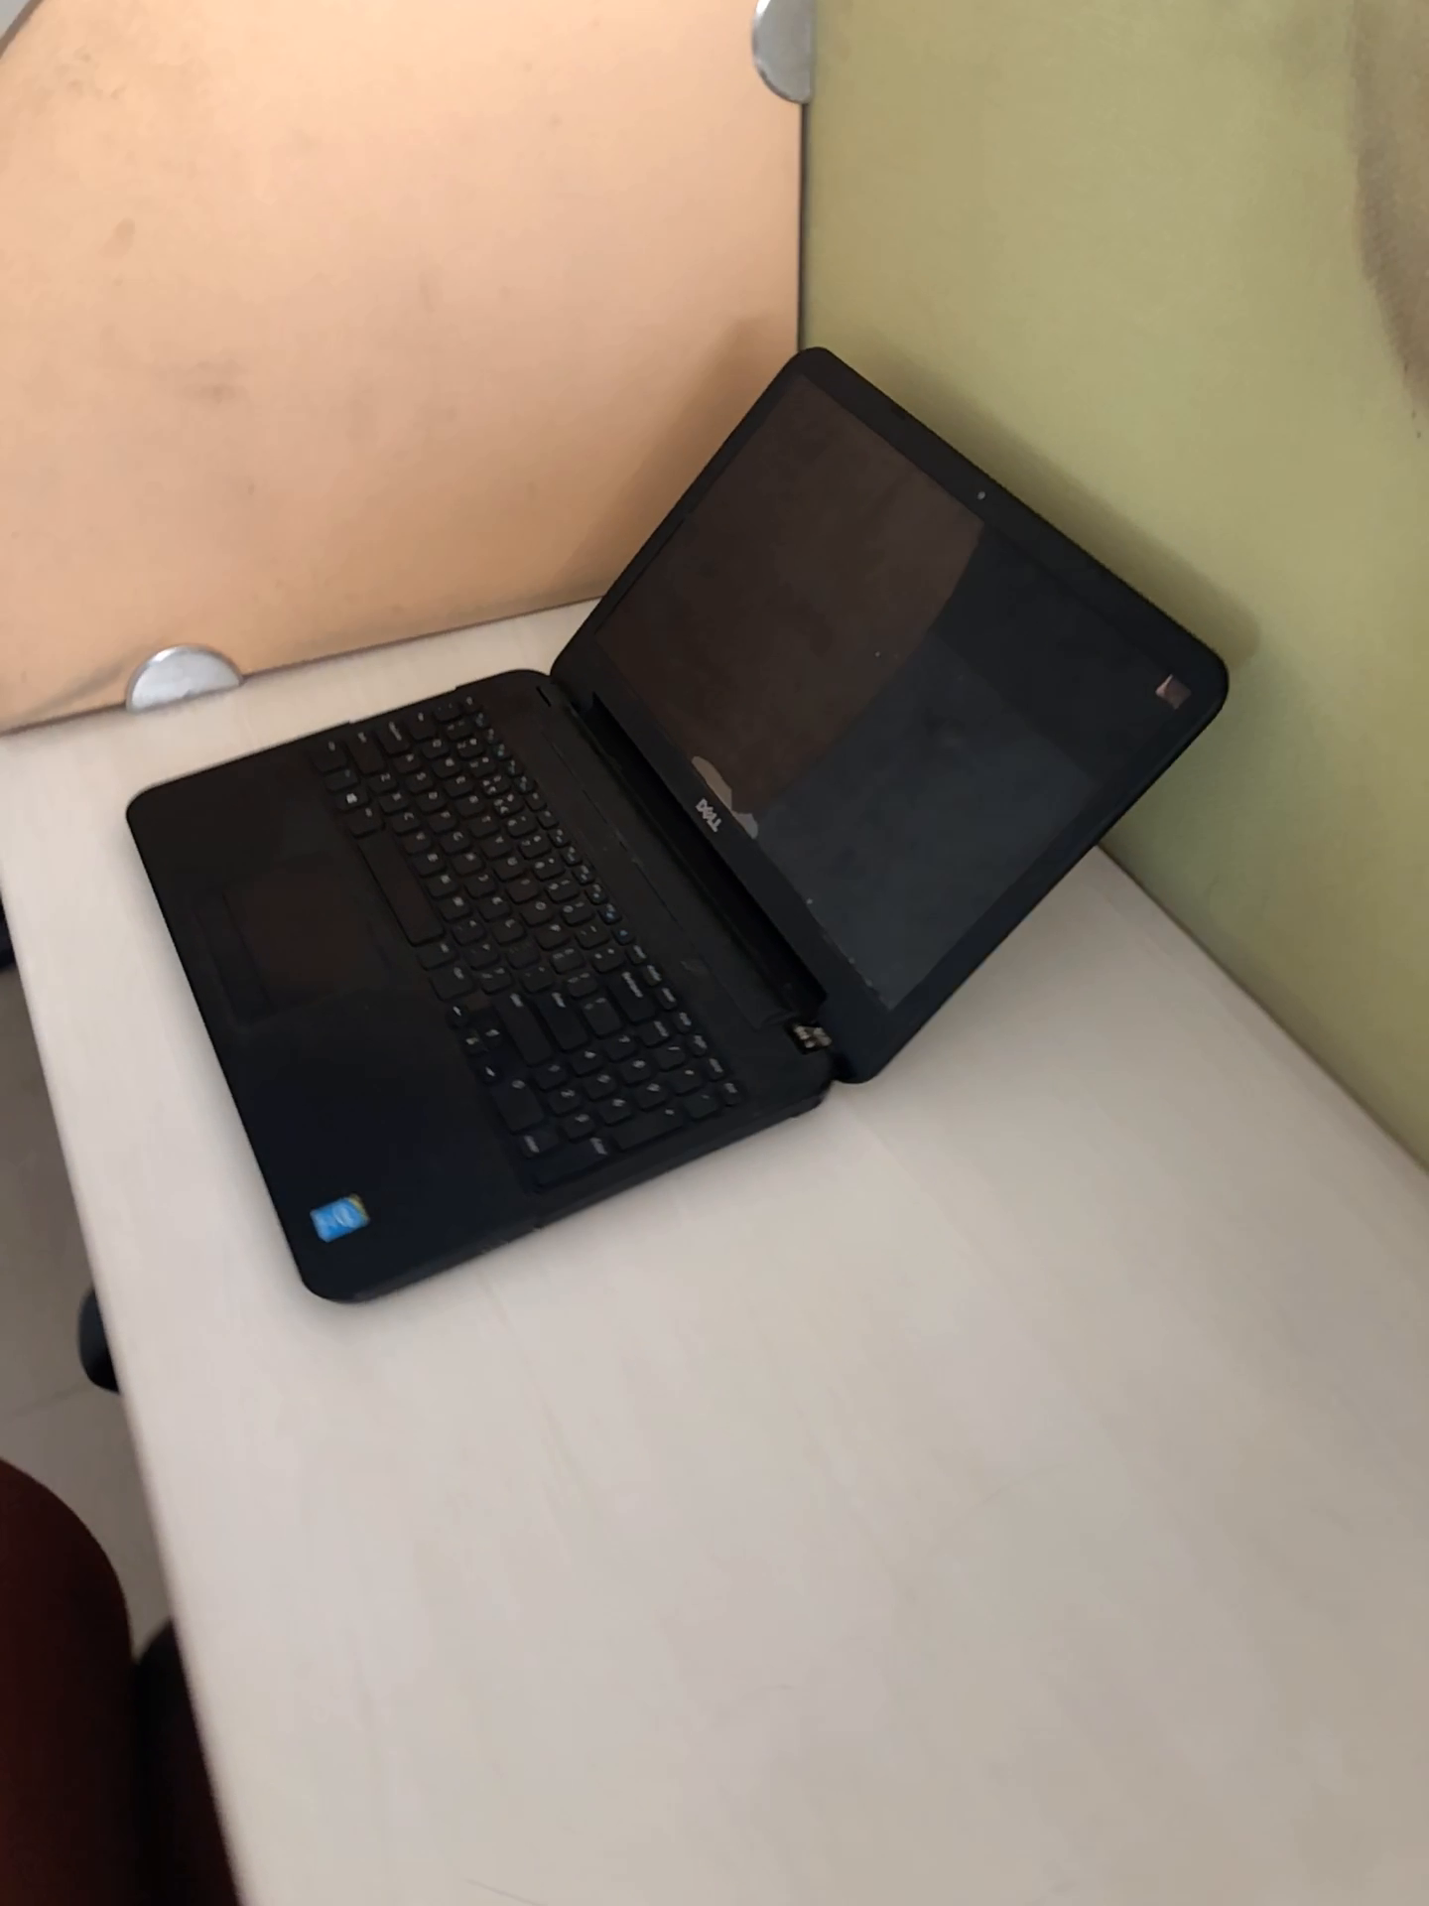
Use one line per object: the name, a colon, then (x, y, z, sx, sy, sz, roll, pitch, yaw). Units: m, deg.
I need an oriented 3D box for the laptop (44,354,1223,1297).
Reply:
laptop: (-0.054, -0.098, 0.774, 0.424, 0.165, 0.358, -20, 49, -18)
